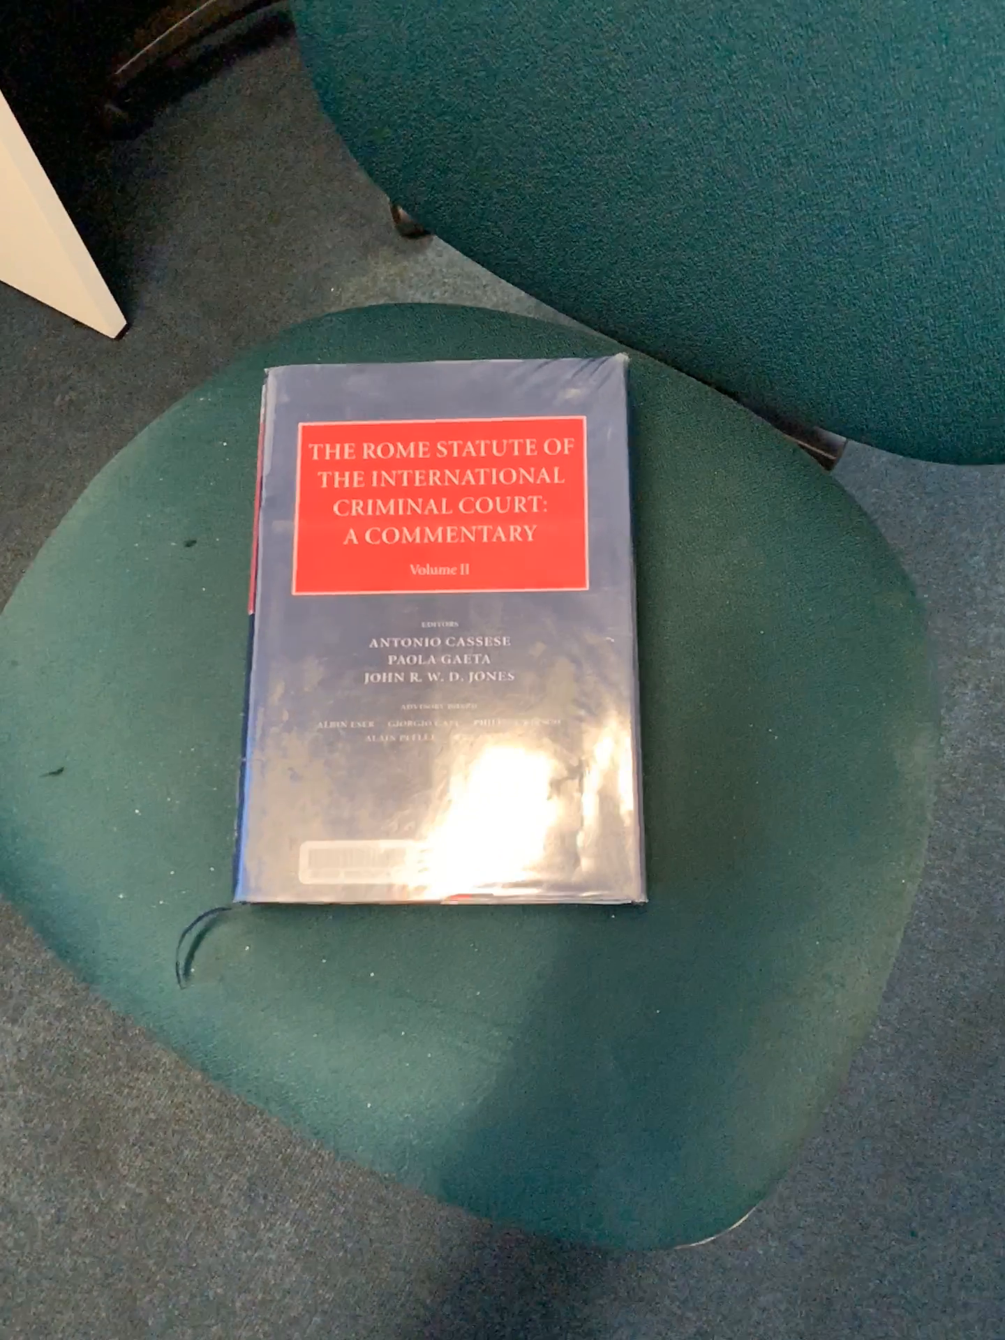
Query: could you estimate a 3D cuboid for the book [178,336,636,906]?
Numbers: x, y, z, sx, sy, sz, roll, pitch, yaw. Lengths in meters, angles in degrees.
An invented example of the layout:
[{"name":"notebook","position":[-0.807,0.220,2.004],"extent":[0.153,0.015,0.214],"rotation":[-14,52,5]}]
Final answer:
[{"name":"book","position":[-0.039,-0.021,0.483],"extent":[0.188,0.070,0.256],"rotation":[-1,76,3]}]
